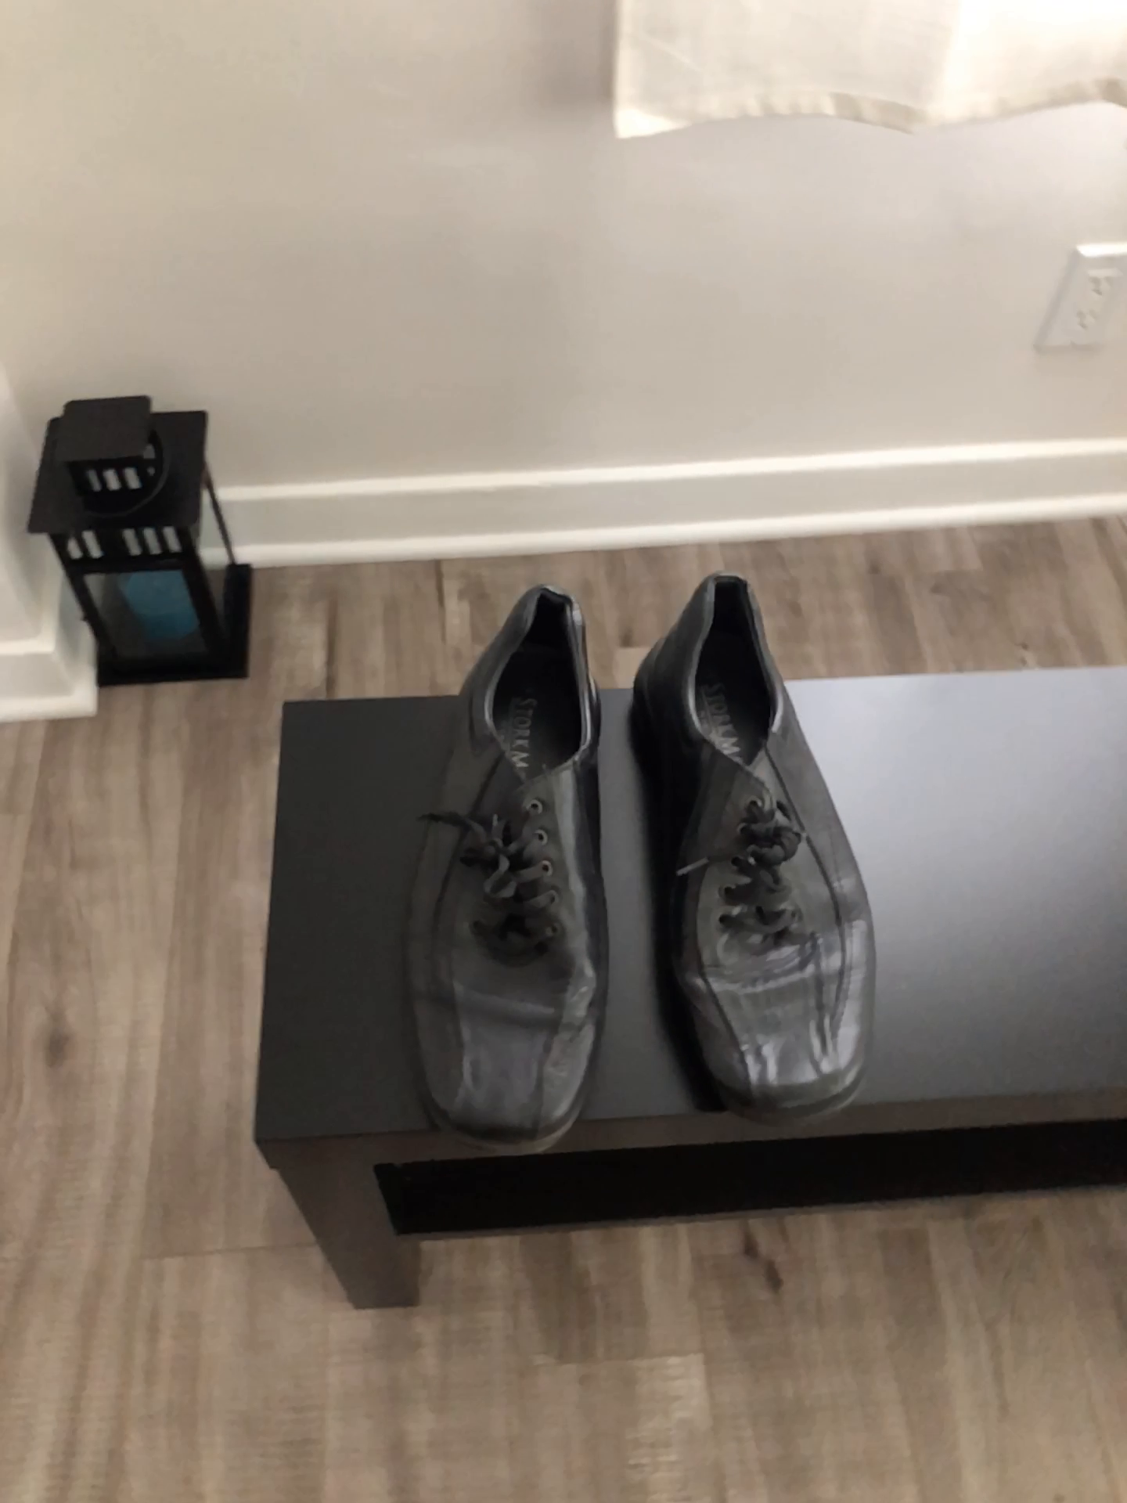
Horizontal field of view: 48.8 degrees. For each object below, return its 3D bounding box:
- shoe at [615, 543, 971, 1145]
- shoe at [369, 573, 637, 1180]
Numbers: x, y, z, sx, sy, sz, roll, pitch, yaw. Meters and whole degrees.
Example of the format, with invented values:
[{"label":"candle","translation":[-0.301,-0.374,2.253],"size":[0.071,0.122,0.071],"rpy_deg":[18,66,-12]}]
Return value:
[{"label":"shoe","translation":[0.101,0.040,0.638],"size":[0.110,0.110,0.283],"rpy_deg":[-4,58,-4]},{"label":"shoe","translation":[-0.023,0.056,0.633],"size":[0.110,0.110,0.286],"rpy_deg":[2,57,0]}]
